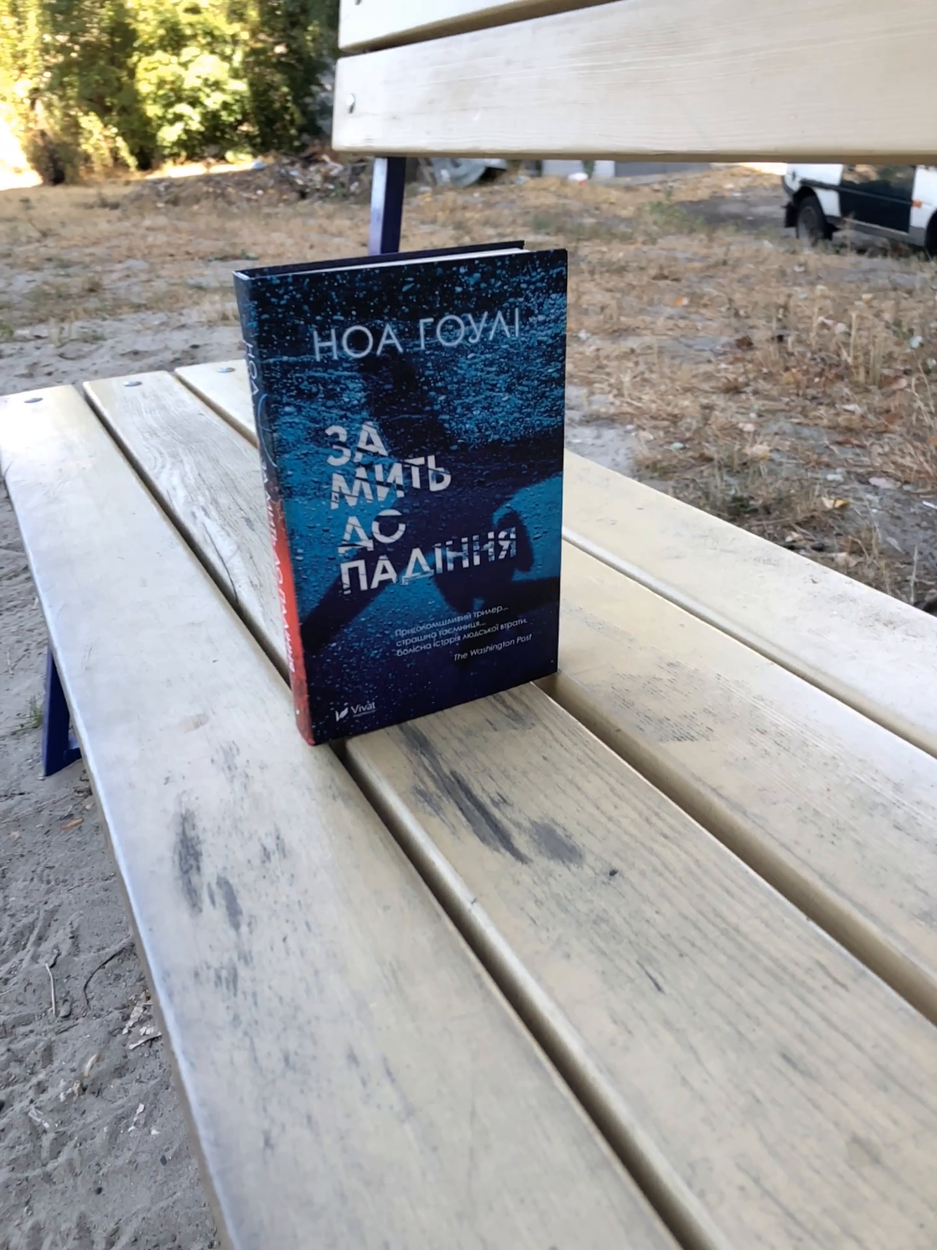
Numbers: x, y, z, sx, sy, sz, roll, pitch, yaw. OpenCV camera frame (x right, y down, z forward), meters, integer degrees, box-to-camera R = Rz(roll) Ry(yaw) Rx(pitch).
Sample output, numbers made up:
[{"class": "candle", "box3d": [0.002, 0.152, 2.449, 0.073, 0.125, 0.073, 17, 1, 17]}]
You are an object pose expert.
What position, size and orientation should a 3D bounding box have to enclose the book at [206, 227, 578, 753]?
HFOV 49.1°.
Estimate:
[{"class": "book", "box3d": [-0.024, -0.058, 0.444, 0.140, 0.199, 0.040, -15, 29, -22]}]
